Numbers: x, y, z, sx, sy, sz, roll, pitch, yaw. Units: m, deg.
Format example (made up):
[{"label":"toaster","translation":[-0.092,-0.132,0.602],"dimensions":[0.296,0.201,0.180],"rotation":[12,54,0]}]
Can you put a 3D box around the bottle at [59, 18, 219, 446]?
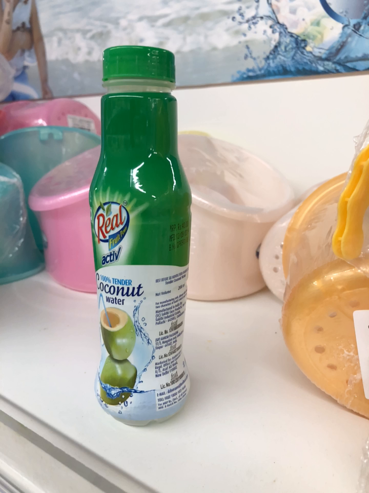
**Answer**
[{"label":"bottle","translation":[-0.018,-0.003,0.202],"dimensions":[0.050,0.179,0.050],"rotation":[0,15,0]}]
